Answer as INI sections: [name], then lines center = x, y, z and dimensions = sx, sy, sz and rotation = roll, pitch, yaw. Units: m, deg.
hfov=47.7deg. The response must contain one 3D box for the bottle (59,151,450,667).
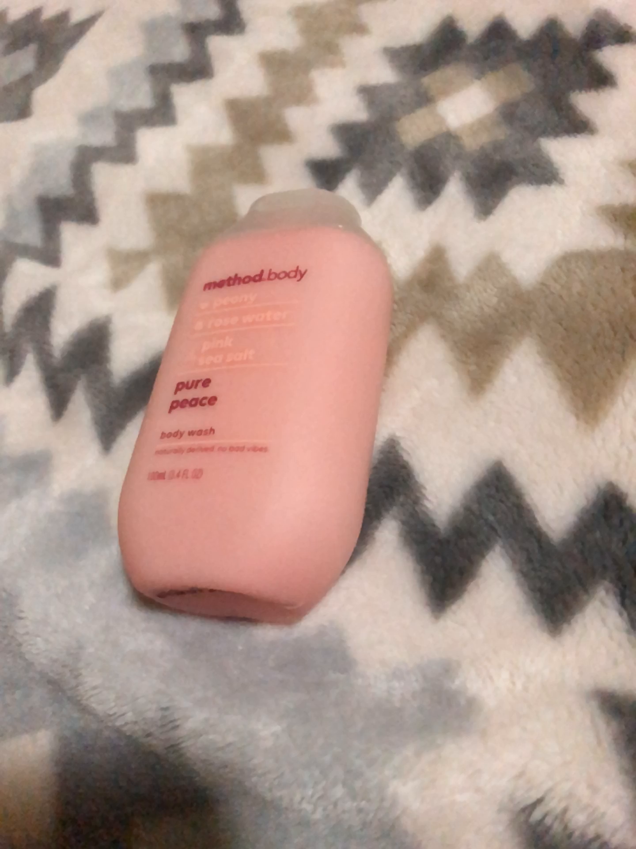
[bottle]
center = -0.008, -0.008, 0.166
dimensions = 0.057, 0.030, 0.110
rotation = 2, 63, 24
